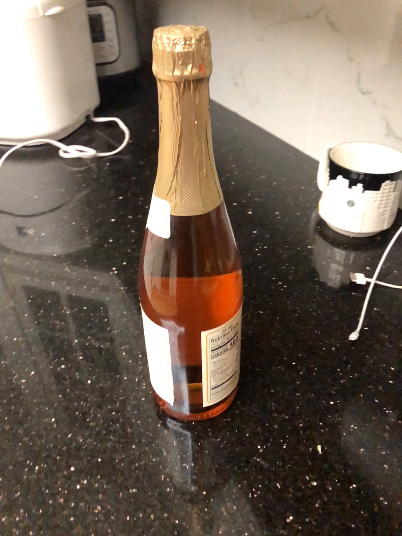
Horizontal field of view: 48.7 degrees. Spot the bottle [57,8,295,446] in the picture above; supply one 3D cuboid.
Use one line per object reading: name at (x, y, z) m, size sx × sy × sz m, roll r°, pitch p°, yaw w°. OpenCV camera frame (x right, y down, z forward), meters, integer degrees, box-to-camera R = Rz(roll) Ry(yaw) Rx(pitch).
bottle at (-0.007, -0.010, 0.325) m, size 0.090 × 0.298 × 0.090 m, roll -1°, pitch 38°, yaw 1°
